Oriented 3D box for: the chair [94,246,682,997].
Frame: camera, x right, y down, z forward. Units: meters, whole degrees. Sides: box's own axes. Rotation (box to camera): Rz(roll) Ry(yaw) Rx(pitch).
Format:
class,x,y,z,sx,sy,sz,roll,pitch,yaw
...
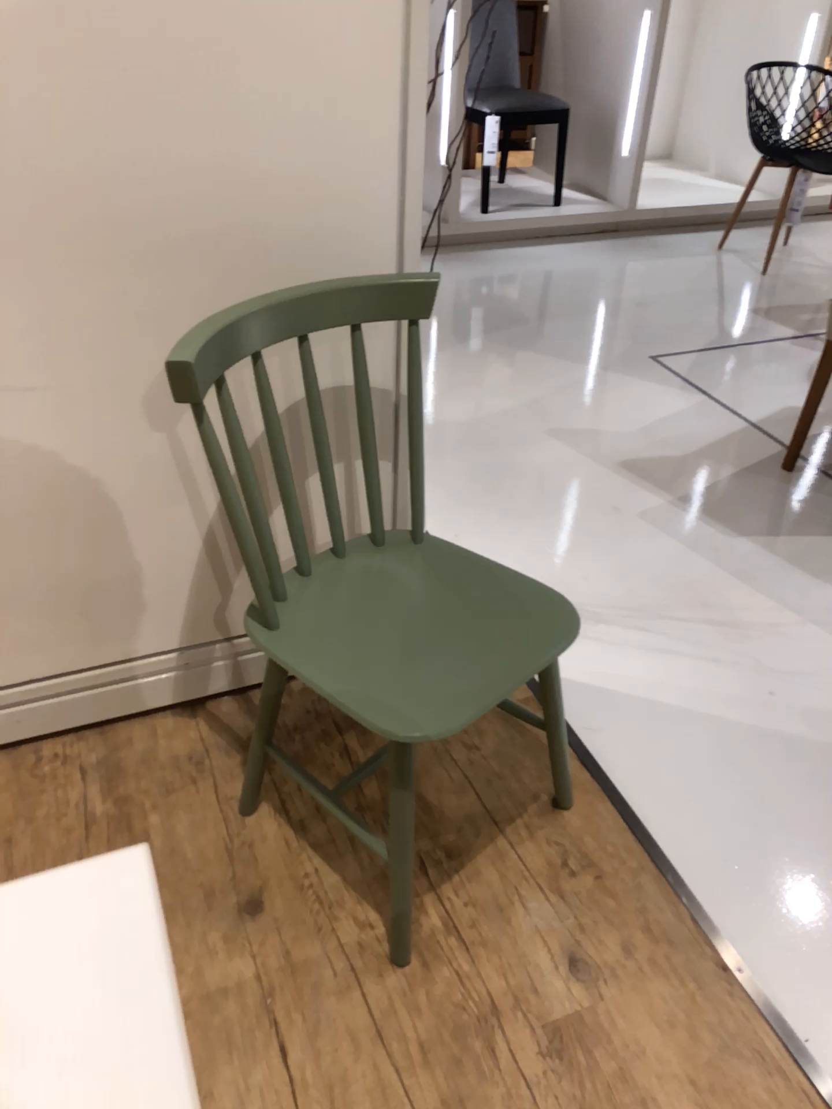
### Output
class,x,y,z,sx,sy,sz,roll,pitch,yaw
chair,-0.048,0.070,1.308,0.522,0.813,0.472,30,42,34
